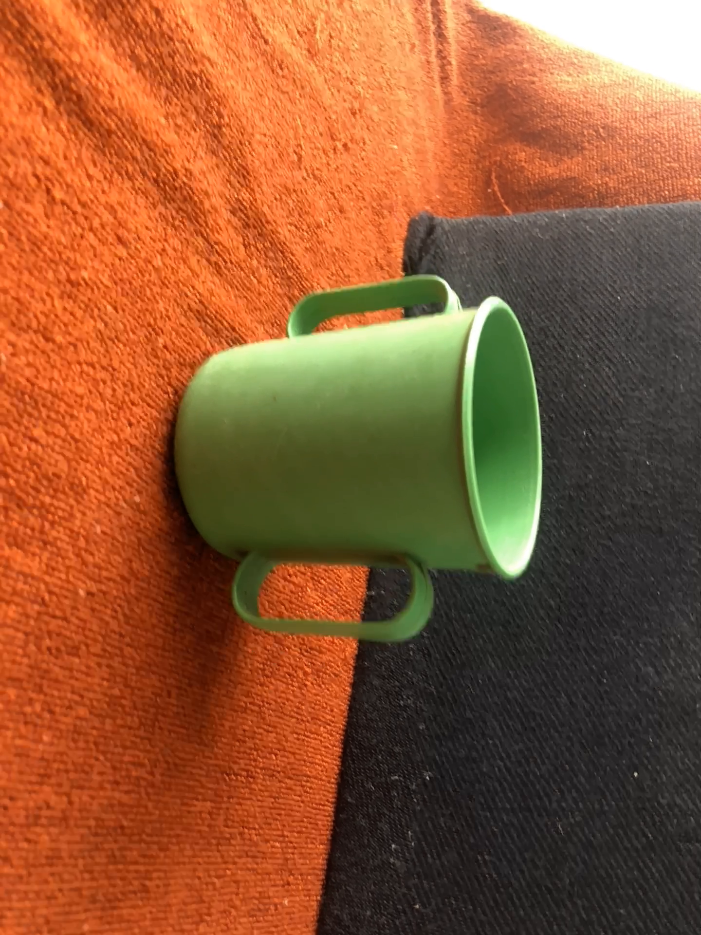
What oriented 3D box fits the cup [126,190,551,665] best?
[{"bbox_3d":[0.005,-0.003,0.217,0.081,0.079,0.100,38,55,-59],"label":"cup"}]
